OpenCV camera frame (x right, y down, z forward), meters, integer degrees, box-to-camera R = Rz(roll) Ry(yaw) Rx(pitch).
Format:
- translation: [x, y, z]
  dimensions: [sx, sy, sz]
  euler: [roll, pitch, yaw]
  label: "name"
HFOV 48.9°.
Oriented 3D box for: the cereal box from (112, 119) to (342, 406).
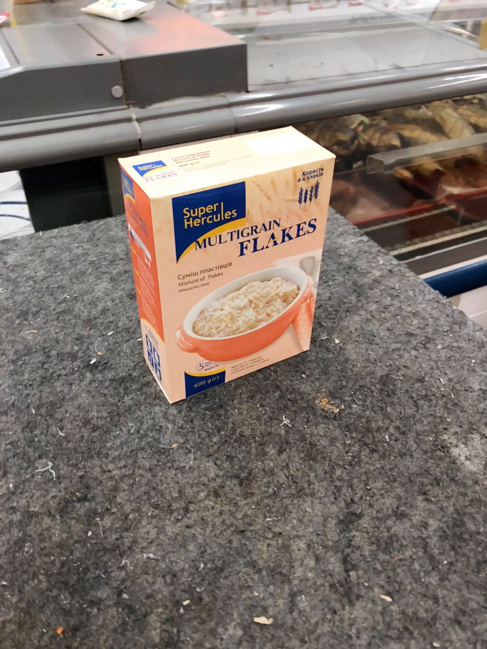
- translation: [-0.013, -0.049, 0.449]
  dimensions: [0.150, 0.199, 0.070]
  euler: [-19, 45, -23]
  label: "cereal box"
